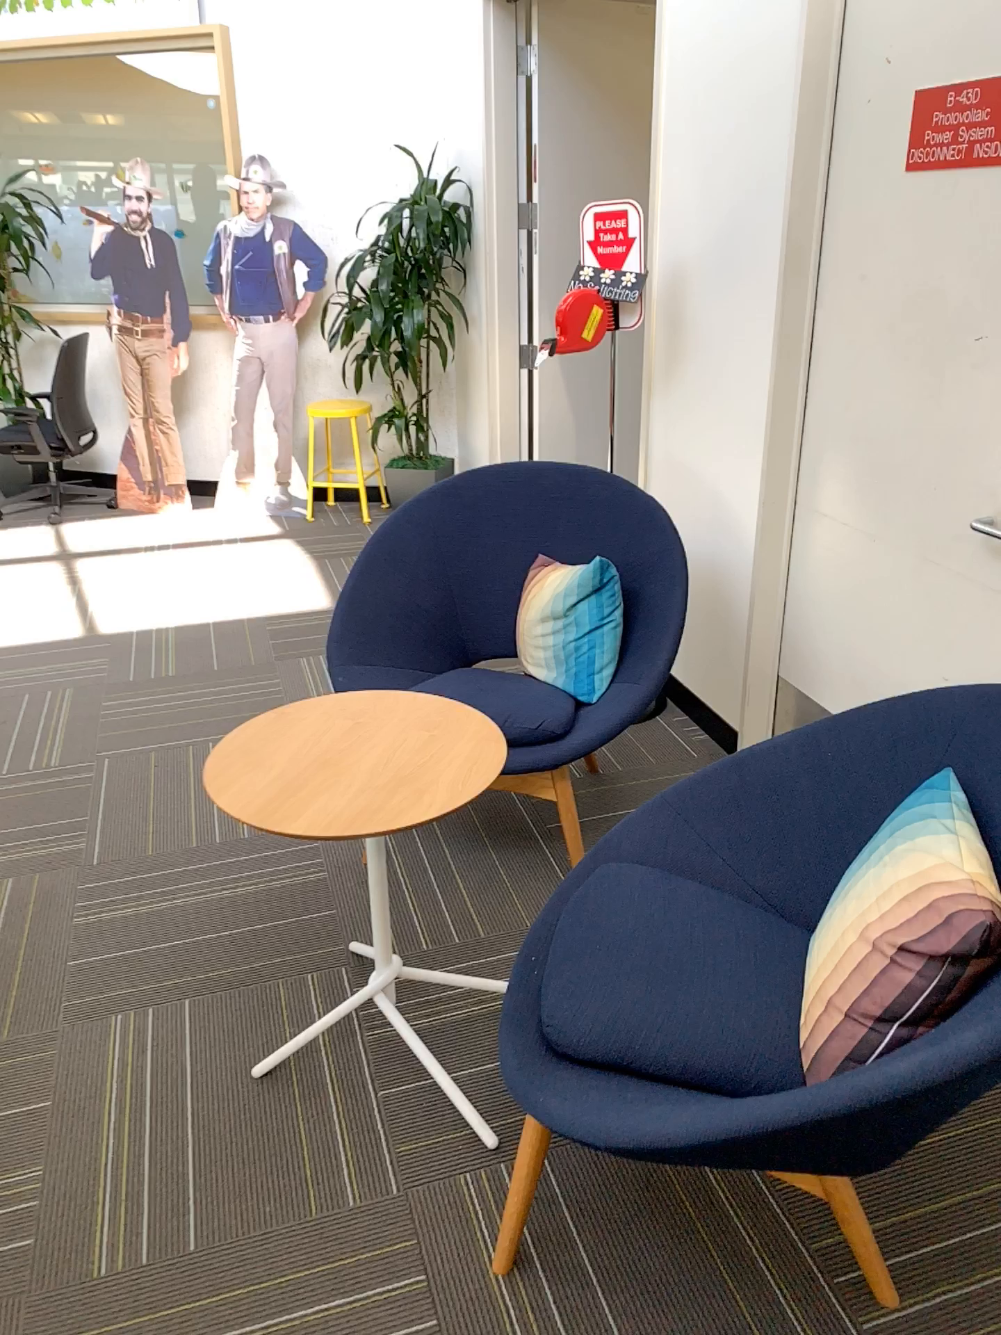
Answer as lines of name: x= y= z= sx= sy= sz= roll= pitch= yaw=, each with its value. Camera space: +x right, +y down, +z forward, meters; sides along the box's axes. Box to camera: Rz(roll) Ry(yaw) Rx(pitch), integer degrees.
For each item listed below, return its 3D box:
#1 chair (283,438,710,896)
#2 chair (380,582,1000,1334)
chair: x=0.043 y=-0.076 z=2.667 sx=0.791 sy=0.835 sz=0.843 roll=8 pitch=25 yaw=20
chair: x=0.479 y=0.505 z=1.586 sx=0.982 sy=0.945 sz=0.833 roll=10 pitch=26 yaw=23
